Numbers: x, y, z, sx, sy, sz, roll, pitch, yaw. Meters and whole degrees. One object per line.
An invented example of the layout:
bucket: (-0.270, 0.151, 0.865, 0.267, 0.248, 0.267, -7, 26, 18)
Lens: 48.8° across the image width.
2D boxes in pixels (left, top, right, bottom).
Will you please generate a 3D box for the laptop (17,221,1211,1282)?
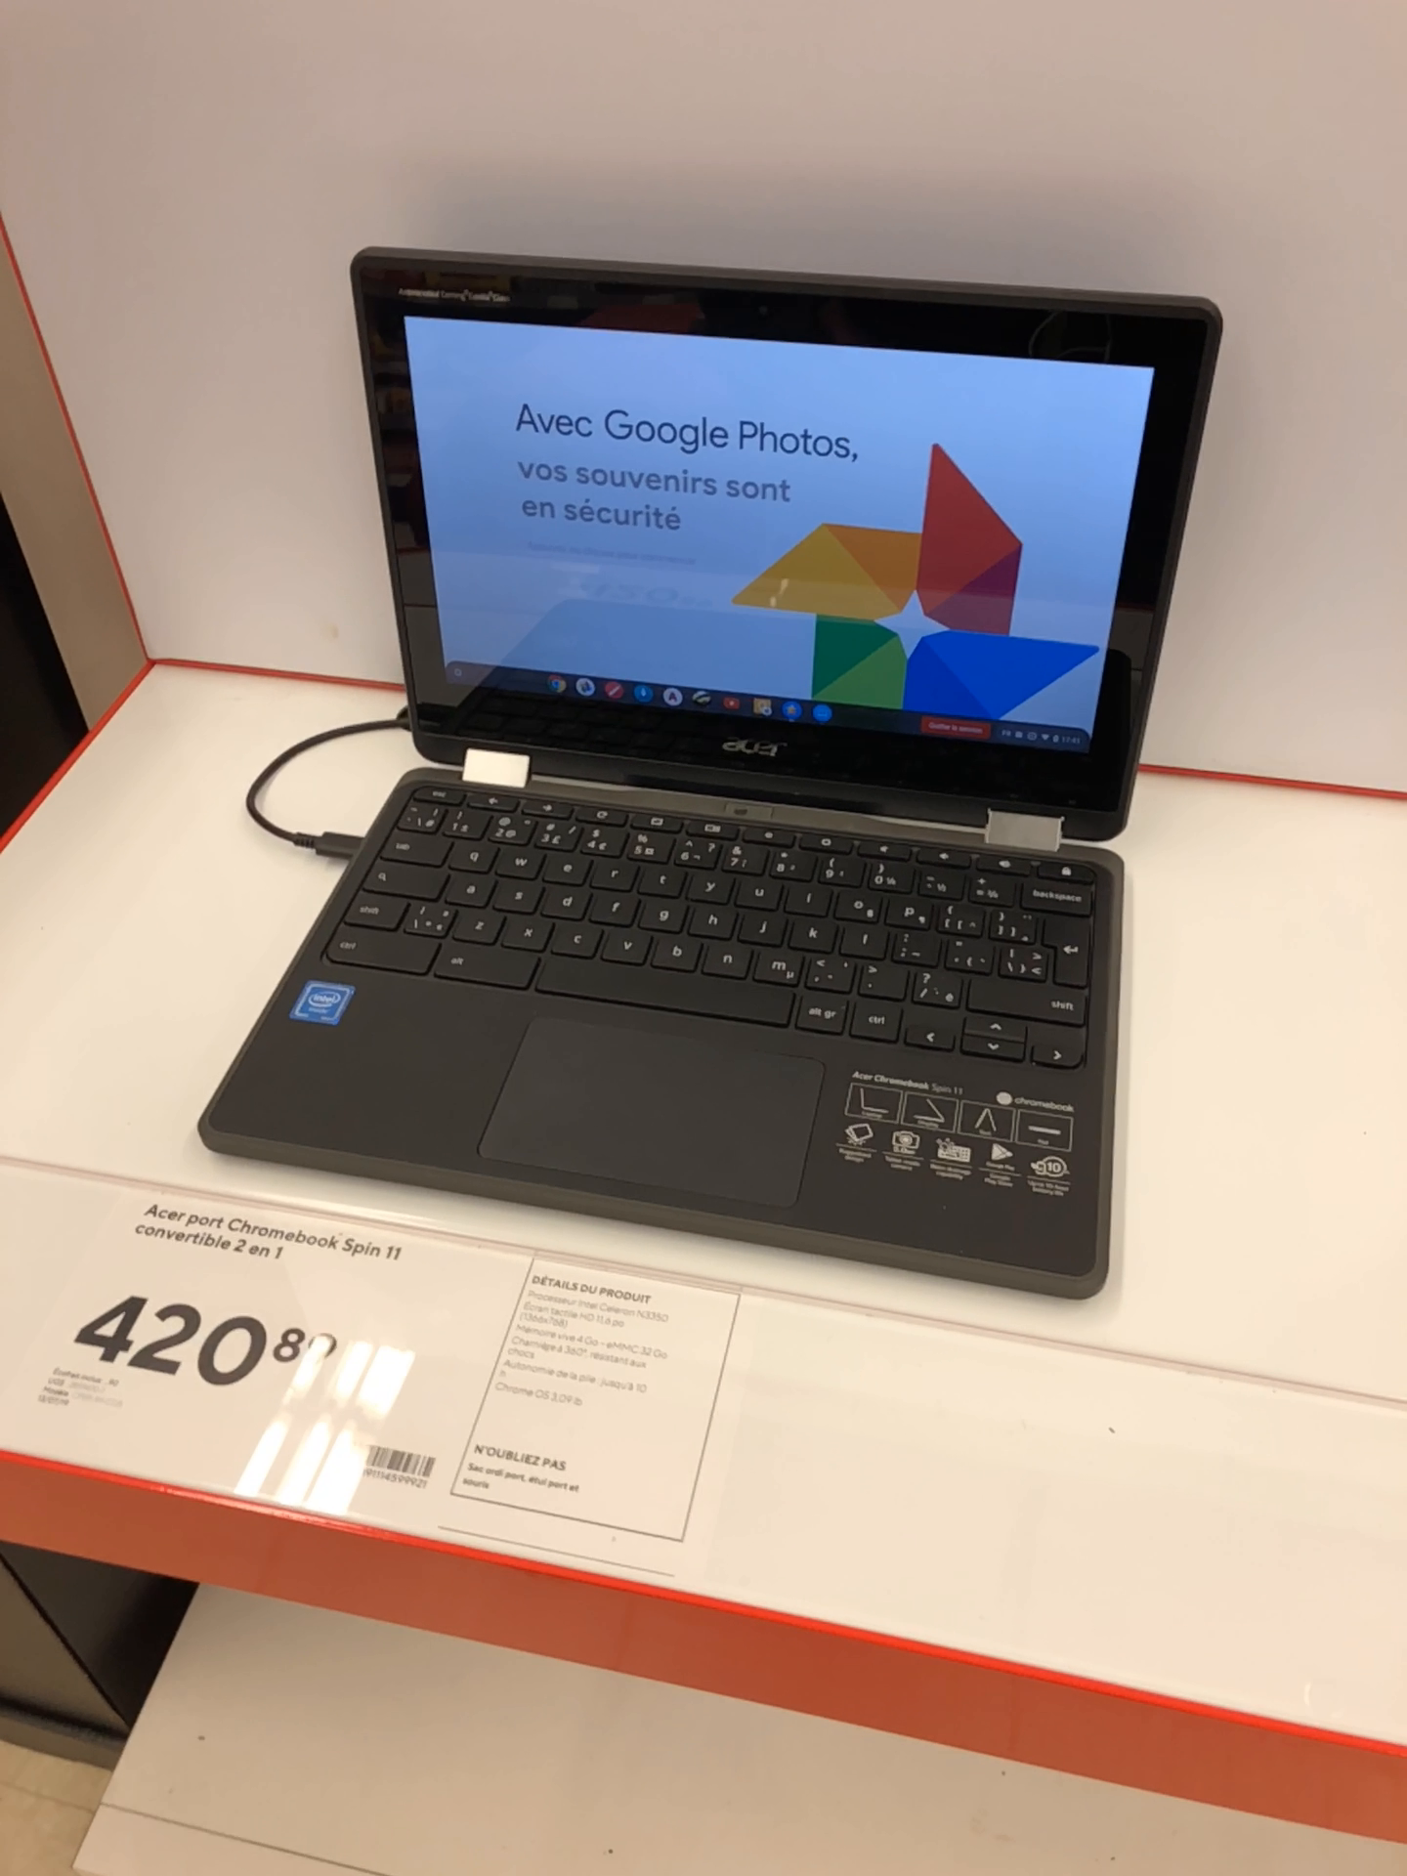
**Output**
laptop: (-0.003, -0.076, 0.514, 0.289, 0.198, 0.253, 7, 47, 10)
